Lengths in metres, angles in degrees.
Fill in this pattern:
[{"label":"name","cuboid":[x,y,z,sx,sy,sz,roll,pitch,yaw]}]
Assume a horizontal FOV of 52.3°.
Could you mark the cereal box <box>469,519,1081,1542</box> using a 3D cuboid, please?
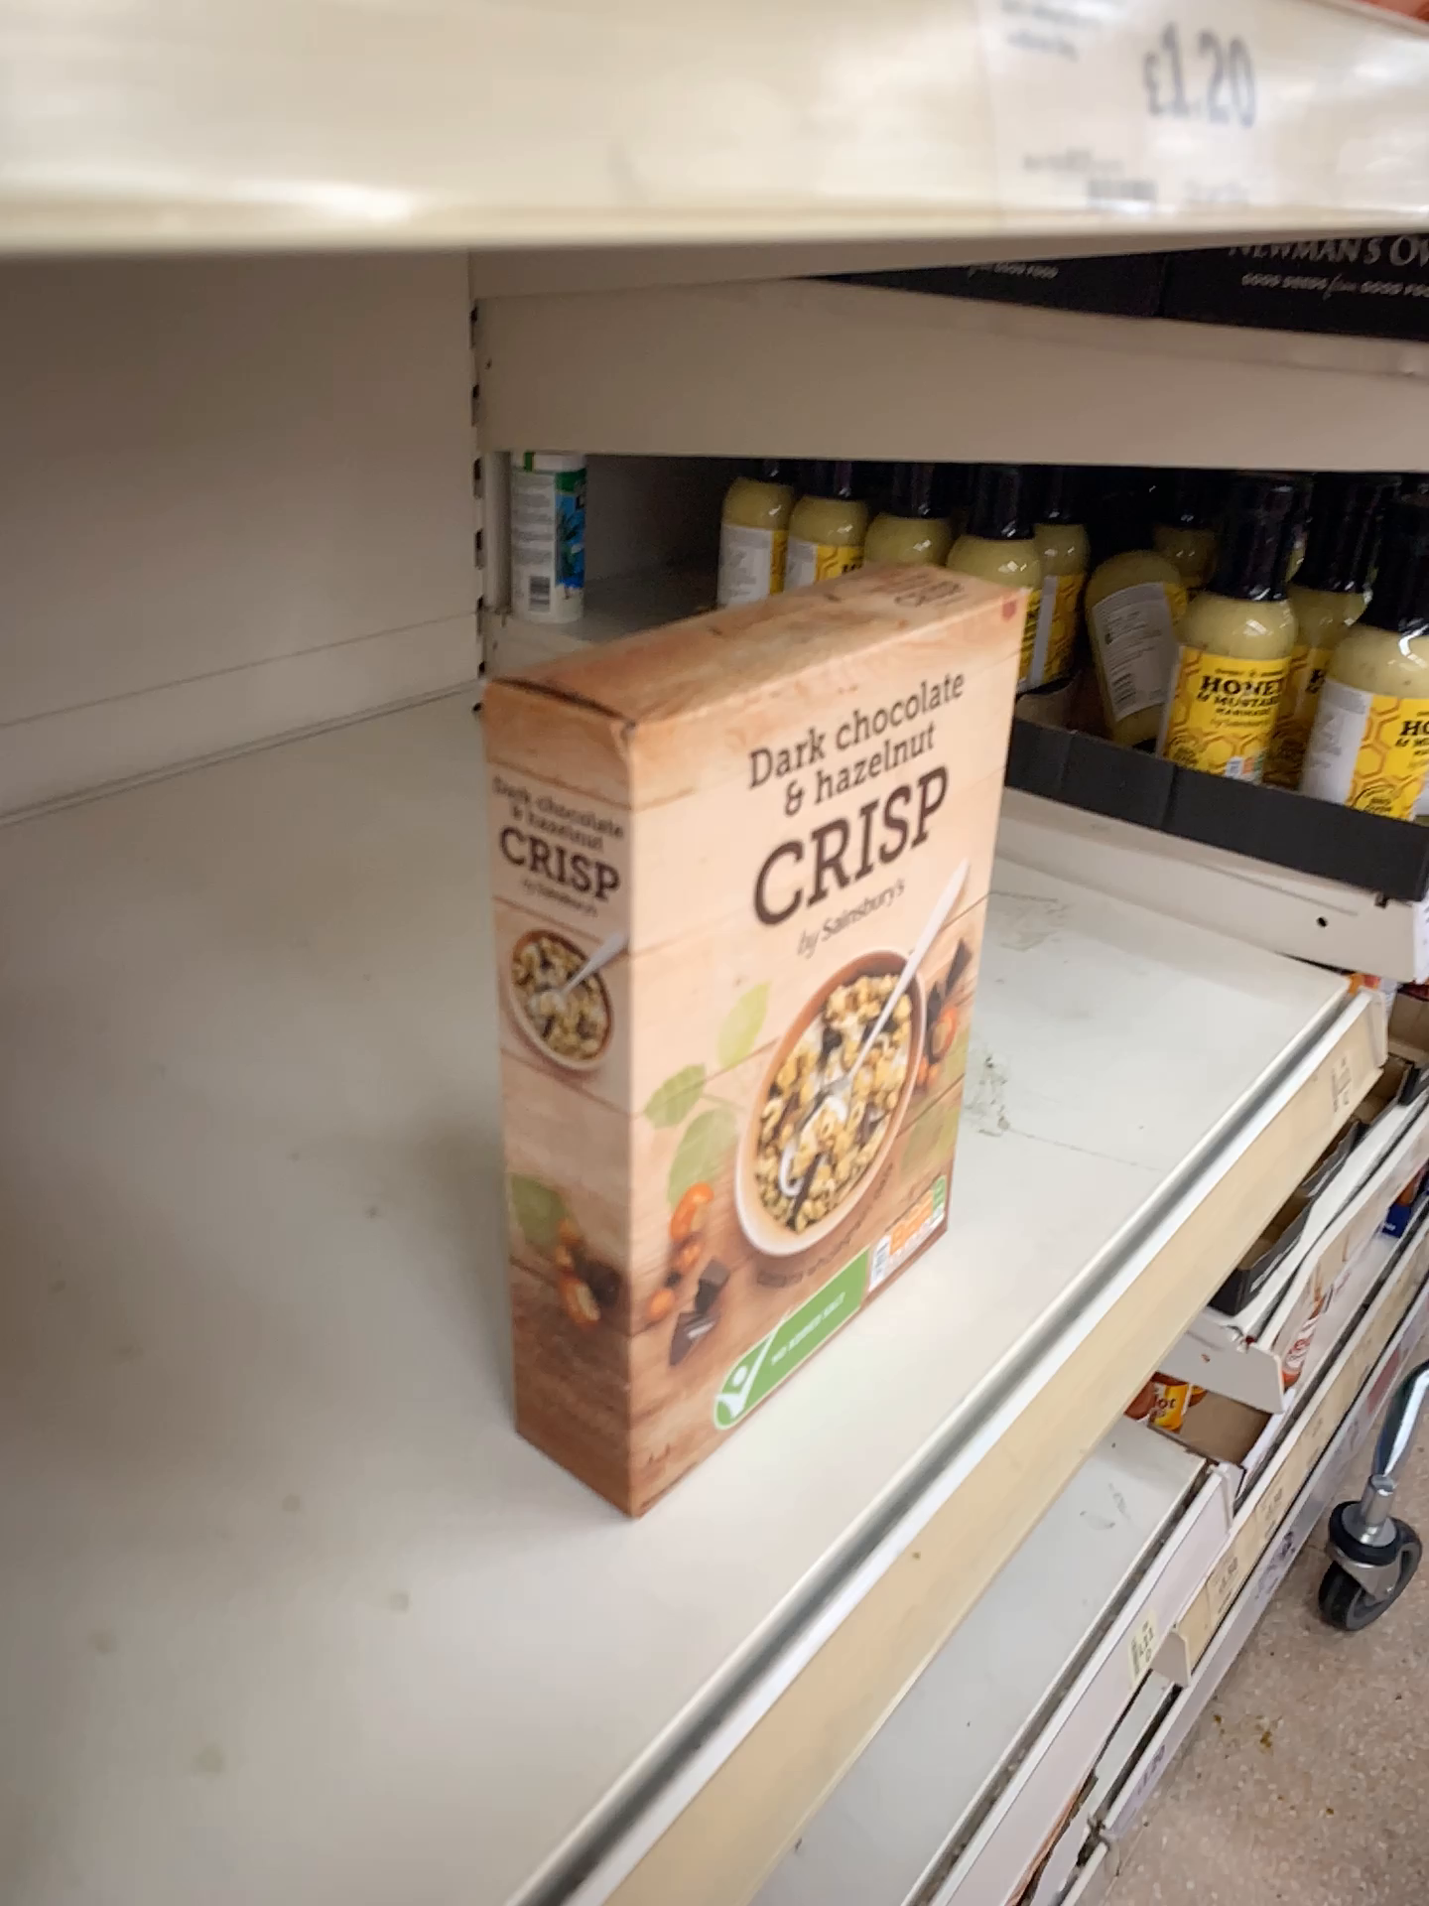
[{"label":"cereal box","cuboid":[0.022,0.014,0.439,0.060,0.248,0.191,21,33,33]}]
